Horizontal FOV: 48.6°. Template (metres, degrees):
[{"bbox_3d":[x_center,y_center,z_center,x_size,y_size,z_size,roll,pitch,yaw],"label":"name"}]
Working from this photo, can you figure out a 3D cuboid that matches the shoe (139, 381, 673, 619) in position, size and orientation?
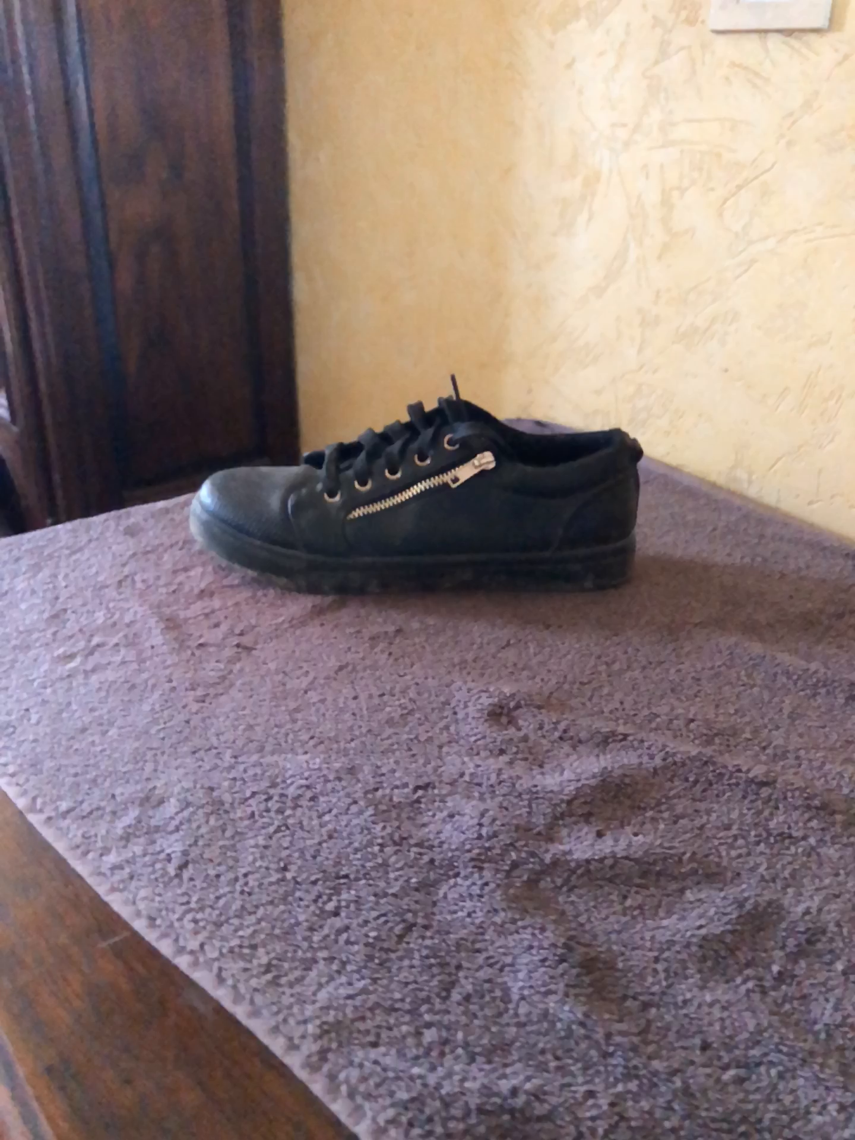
[{"bbox_3d":[-0.010,-0.045,0.539,0.270,0.090,0.101,4,26,5],"label":"shoe"}]
